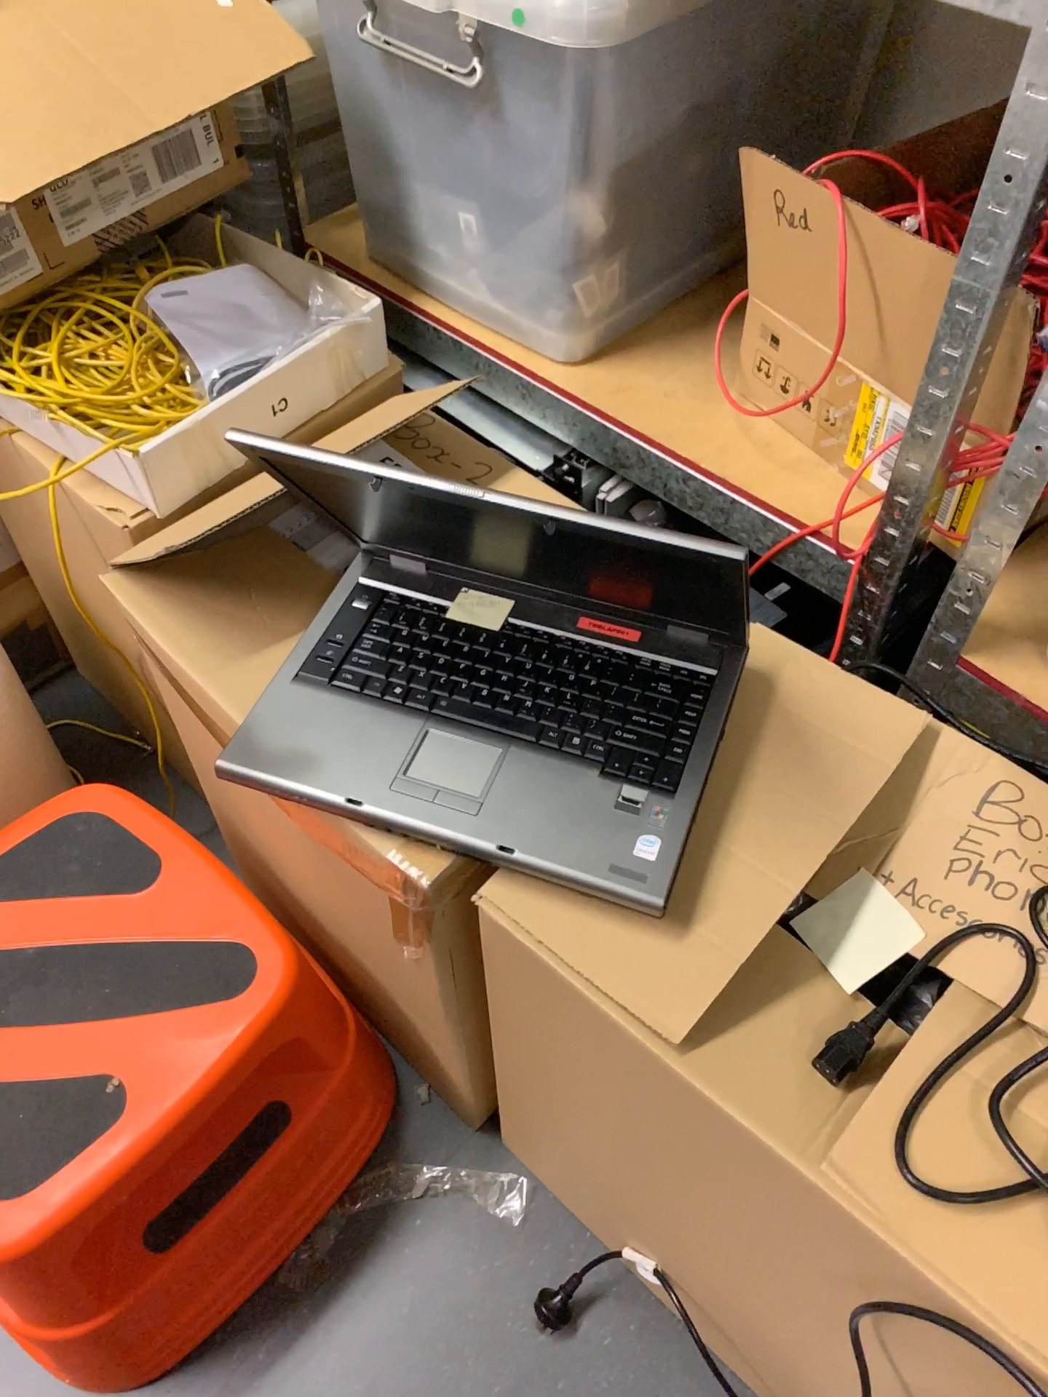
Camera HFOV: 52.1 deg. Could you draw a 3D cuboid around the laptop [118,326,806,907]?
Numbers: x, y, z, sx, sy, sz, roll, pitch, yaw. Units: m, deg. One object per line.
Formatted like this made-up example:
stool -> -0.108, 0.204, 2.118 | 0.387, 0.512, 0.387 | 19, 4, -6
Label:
laptop -> -0.028, -0.068, 0.764 | 0.360, 0.238, 0.263 | 15, 51, 14
